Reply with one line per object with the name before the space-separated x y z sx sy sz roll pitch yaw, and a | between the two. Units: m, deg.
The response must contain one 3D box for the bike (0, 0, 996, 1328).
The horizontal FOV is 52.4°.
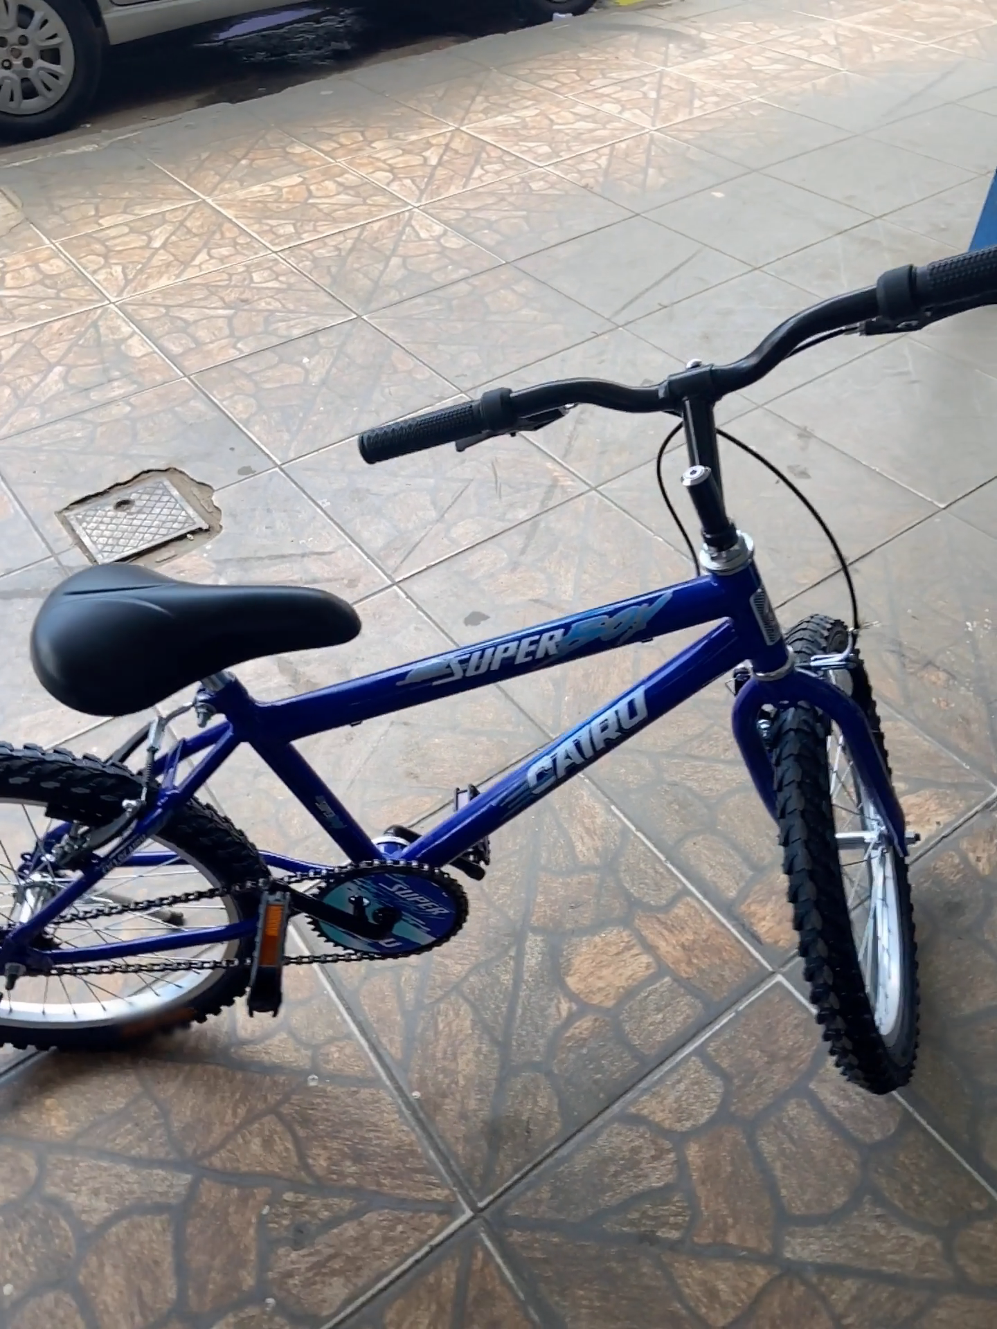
bike | -0.169 0.033 0.923 1.182 0.950 0.546 -12 49 -7
